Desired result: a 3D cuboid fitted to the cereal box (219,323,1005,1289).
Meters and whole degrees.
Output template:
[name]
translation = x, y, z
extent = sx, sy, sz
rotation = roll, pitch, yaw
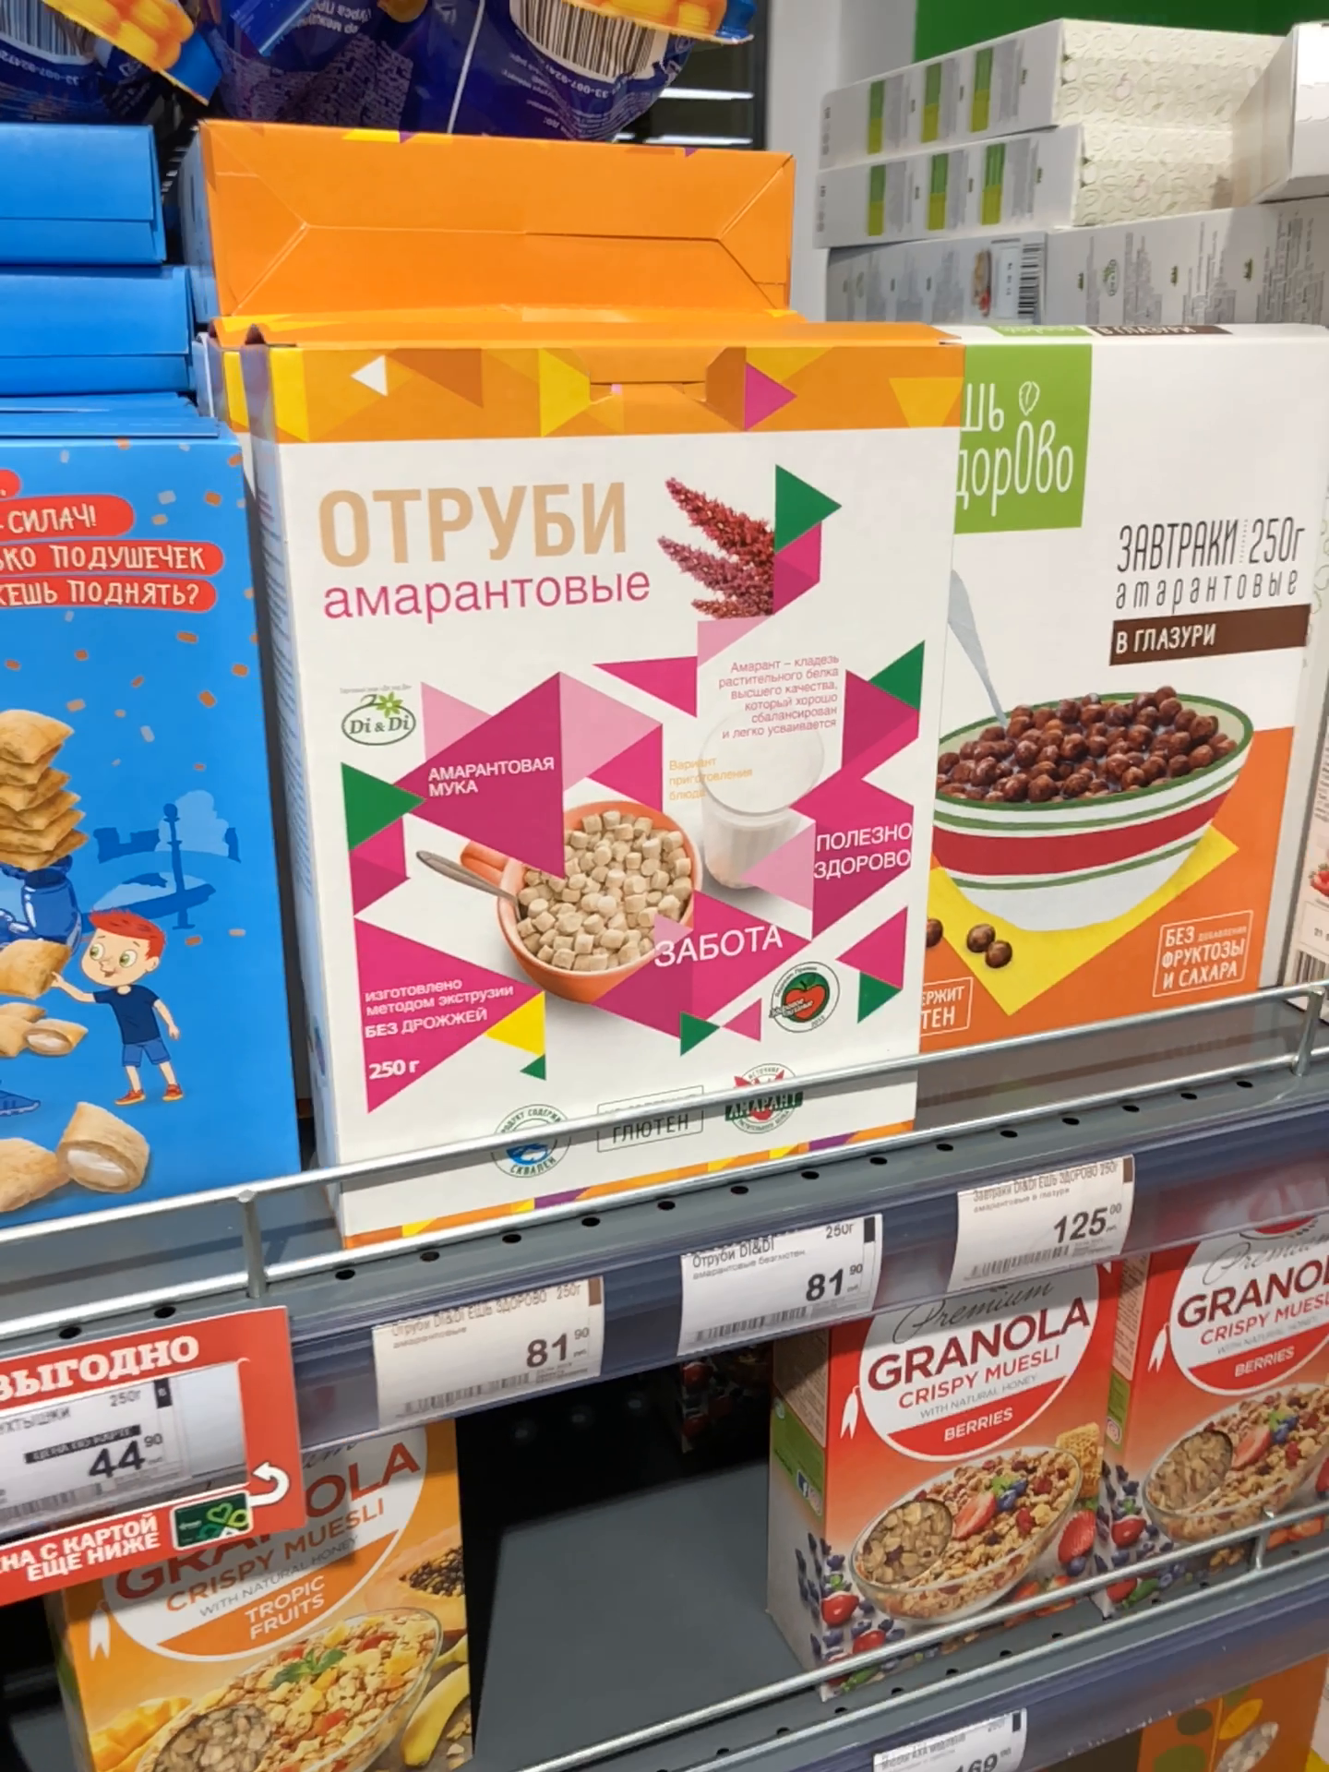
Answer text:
[cereal box]
translation = -0.012, -0.028, 0.435
extent = 0.200, 0.259, 0.060
rotation = -8, 22, -19
